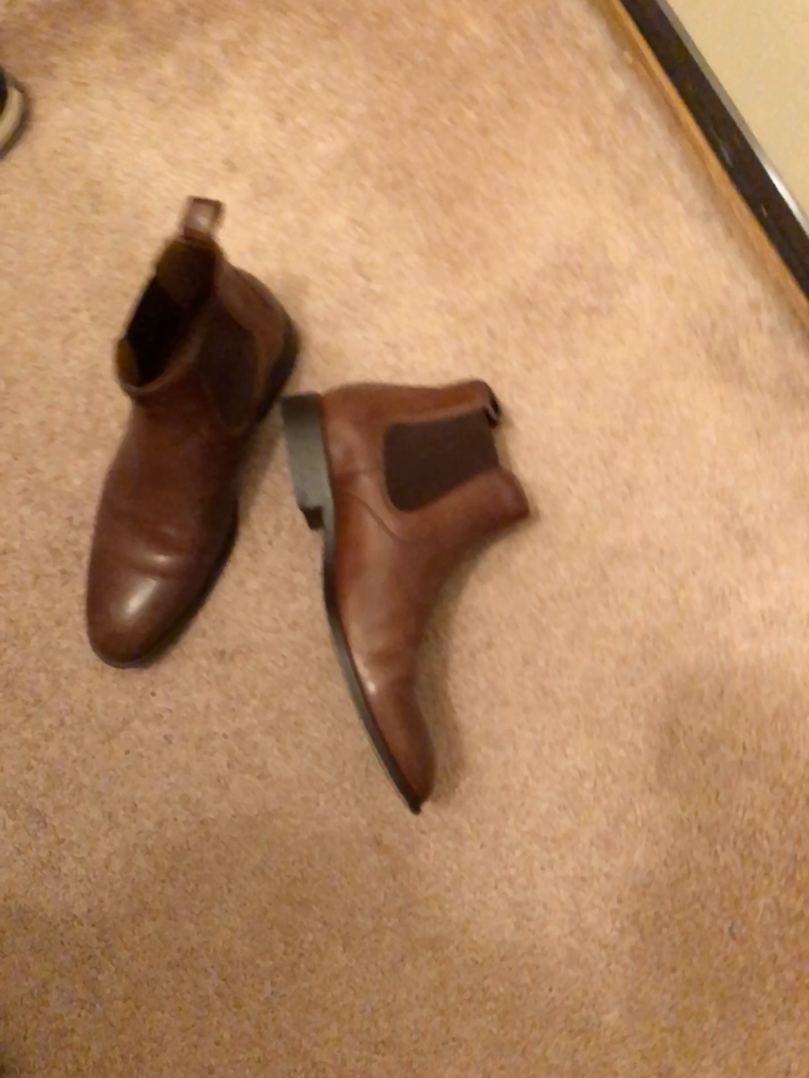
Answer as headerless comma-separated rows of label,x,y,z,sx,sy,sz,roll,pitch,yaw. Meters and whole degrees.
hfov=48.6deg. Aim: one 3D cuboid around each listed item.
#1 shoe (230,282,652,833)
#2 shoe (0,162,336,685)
shoe,0.020,0.013,0.597,0.169,0.119,0.296,-19,79,2
shoe,-0.170,-0.062,0.600,0.109,0.159,0.296,22,83,10
